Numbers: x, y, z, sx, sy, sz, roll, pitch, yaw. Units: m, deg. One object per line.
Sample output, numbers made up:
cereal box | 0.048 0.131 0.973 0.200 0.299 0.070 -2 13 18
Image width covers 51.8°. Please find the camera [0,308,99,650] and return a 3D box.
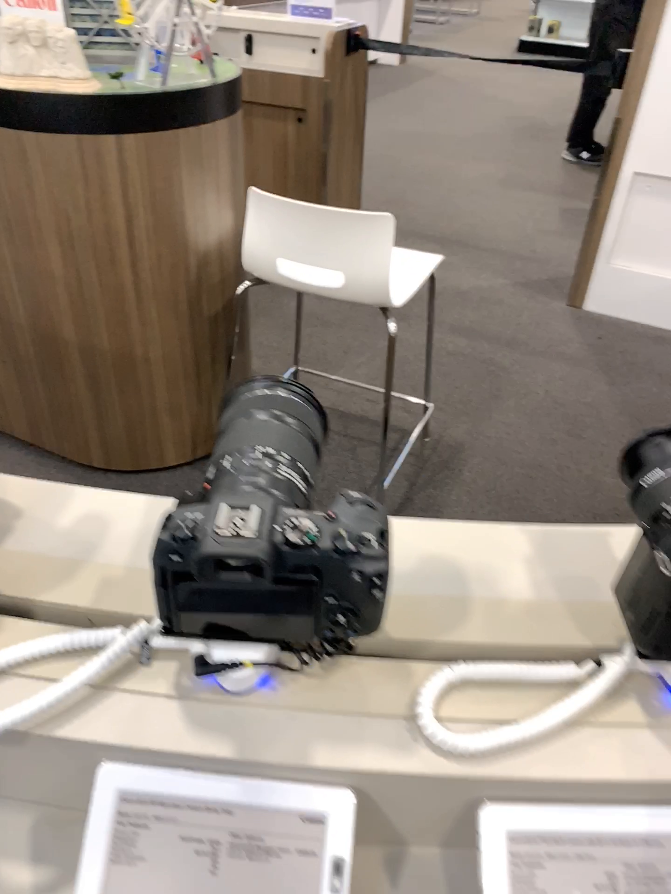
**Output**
camera | -0.274 0.011 0.450 0.150 0.119 0.171 9 38 8

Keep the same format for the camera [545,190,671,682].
camera | 0.240 -0.006 0.400 0.150 0.219 0.171 3 38 -1

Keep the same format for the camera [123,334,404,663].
camera | -0.036 0.022 0.454 0.140 0.099 0.201 3 38 0
